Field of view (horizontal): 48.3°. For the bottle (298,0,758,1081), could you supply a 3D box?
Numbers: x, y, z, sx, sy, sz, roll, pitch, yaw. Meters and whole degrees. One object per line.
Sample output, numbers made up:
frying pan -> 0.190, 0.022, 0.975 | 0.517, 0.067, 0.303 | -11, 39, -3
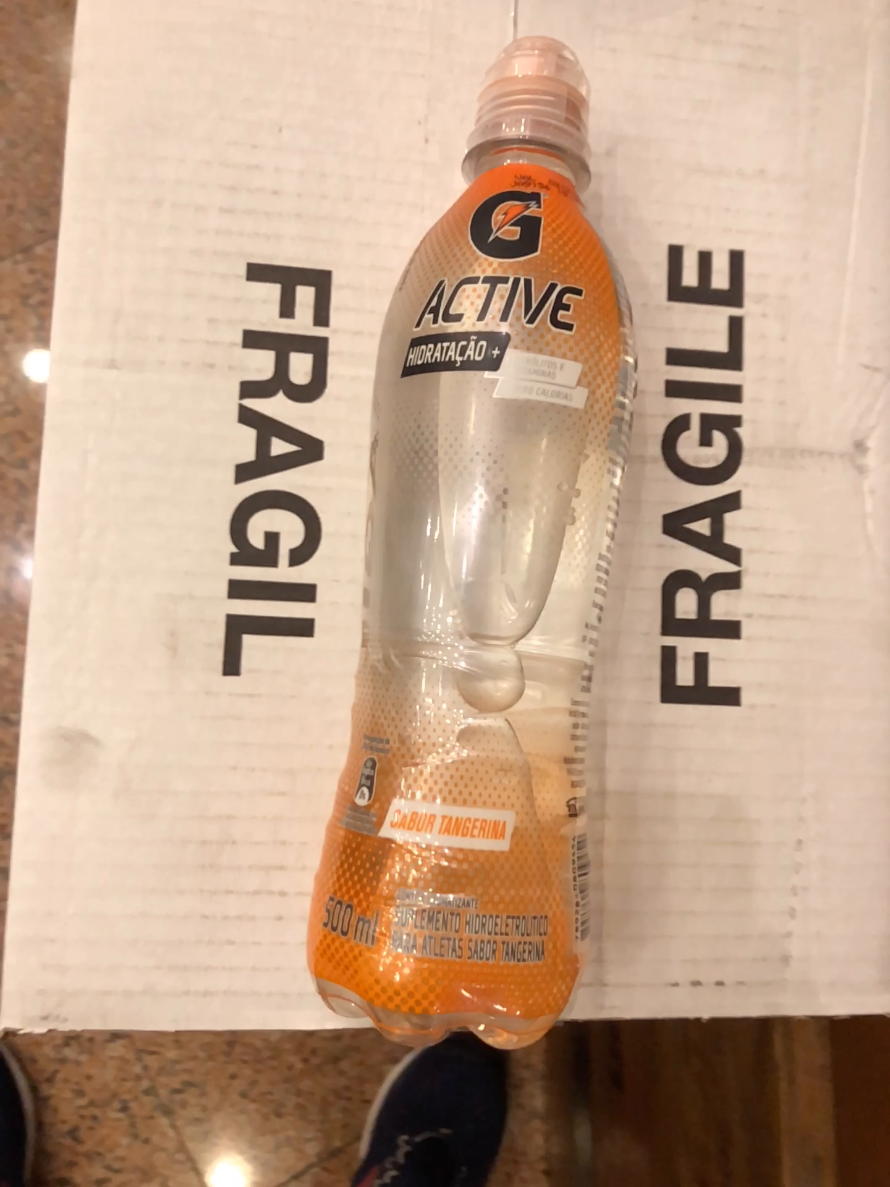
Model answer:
bottle -> 0.018, -0.030, 0.233 | 0.070, 0.060, 0.250 | 7, 84, -6
